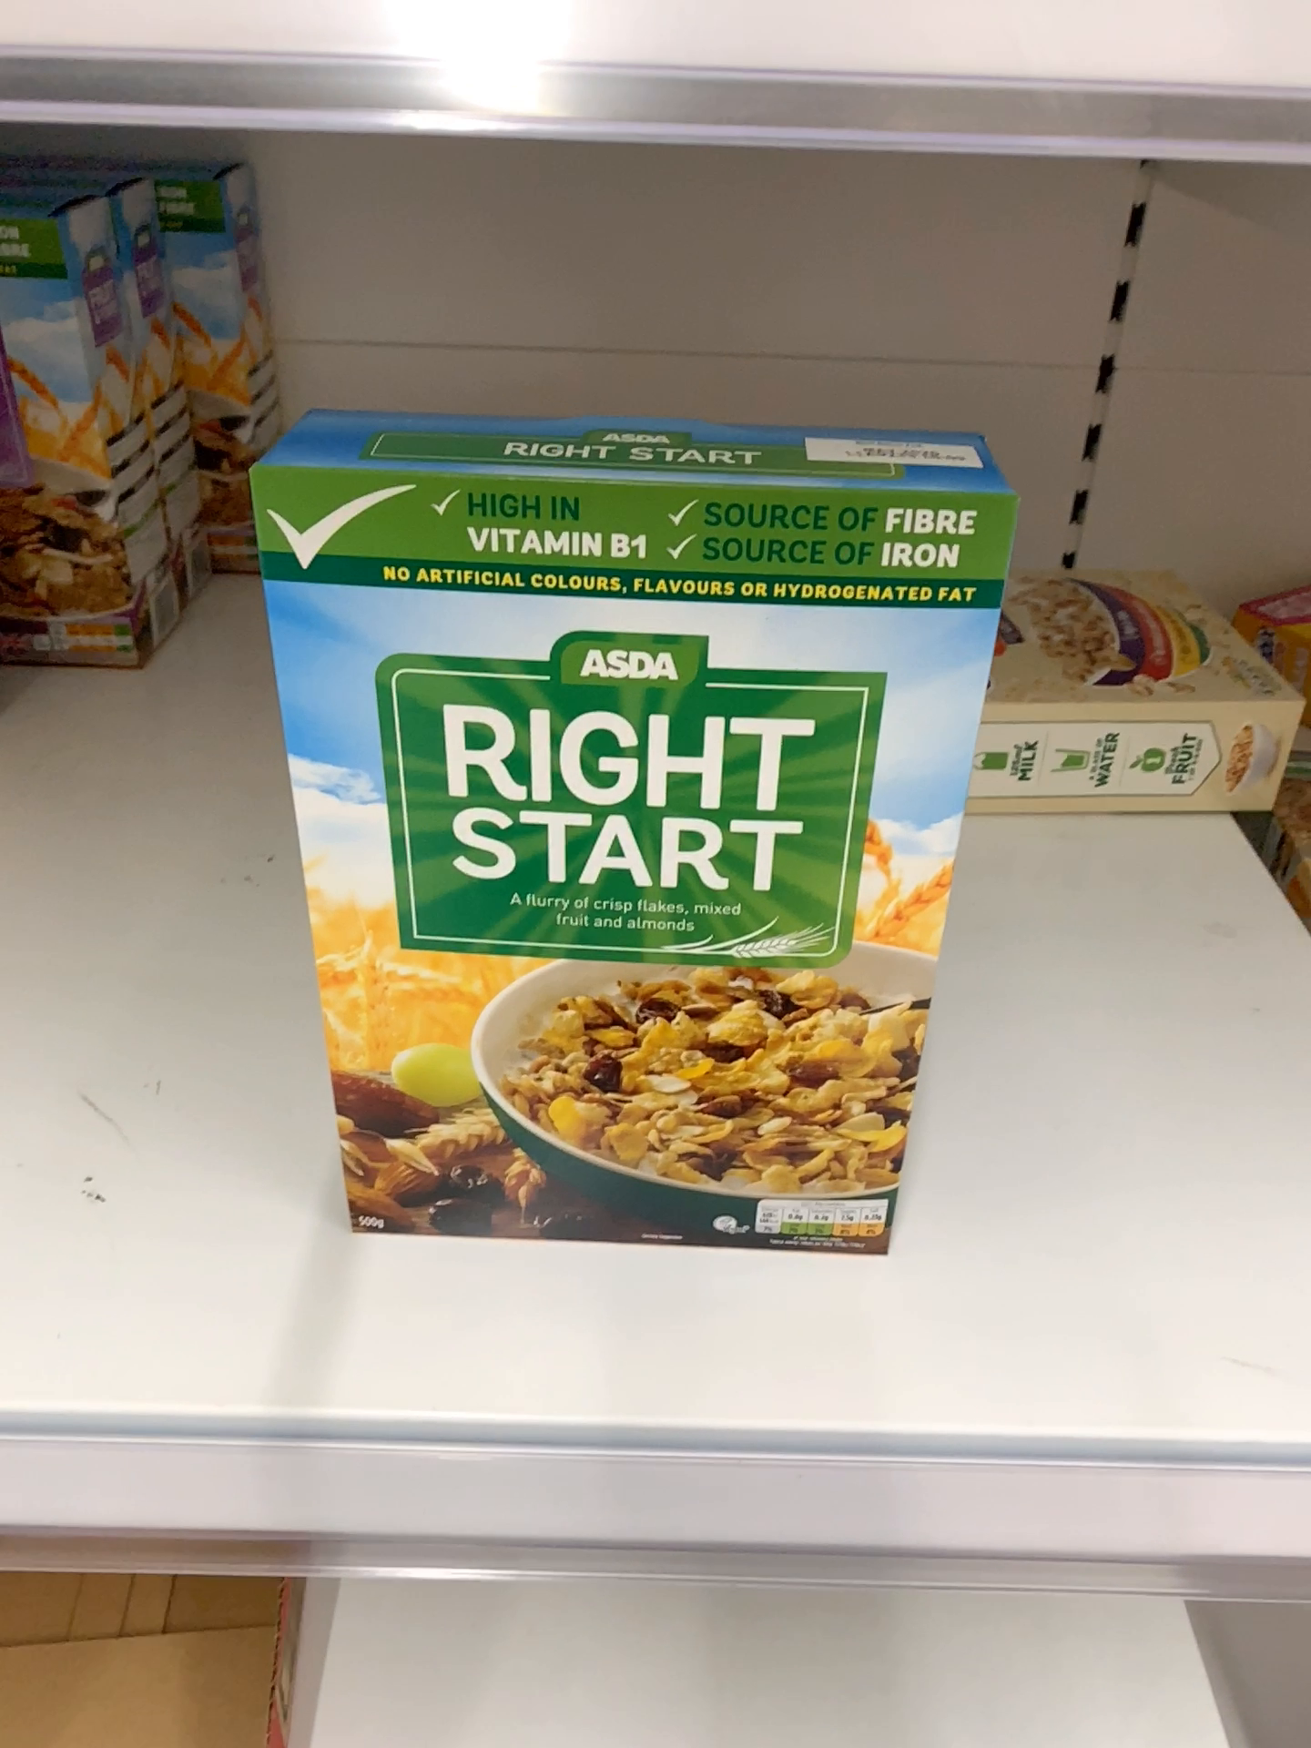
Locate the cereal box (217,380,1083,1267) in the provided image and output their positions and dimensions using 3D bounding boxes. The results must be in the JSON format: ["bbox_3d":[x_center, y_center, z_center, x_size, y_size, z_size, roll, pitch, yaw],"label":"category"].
[{"bbox_3d":[-0.004,-0.001,0.414,0.200,0.268,0.071,2,34,0],"label":"cereal box"}]
